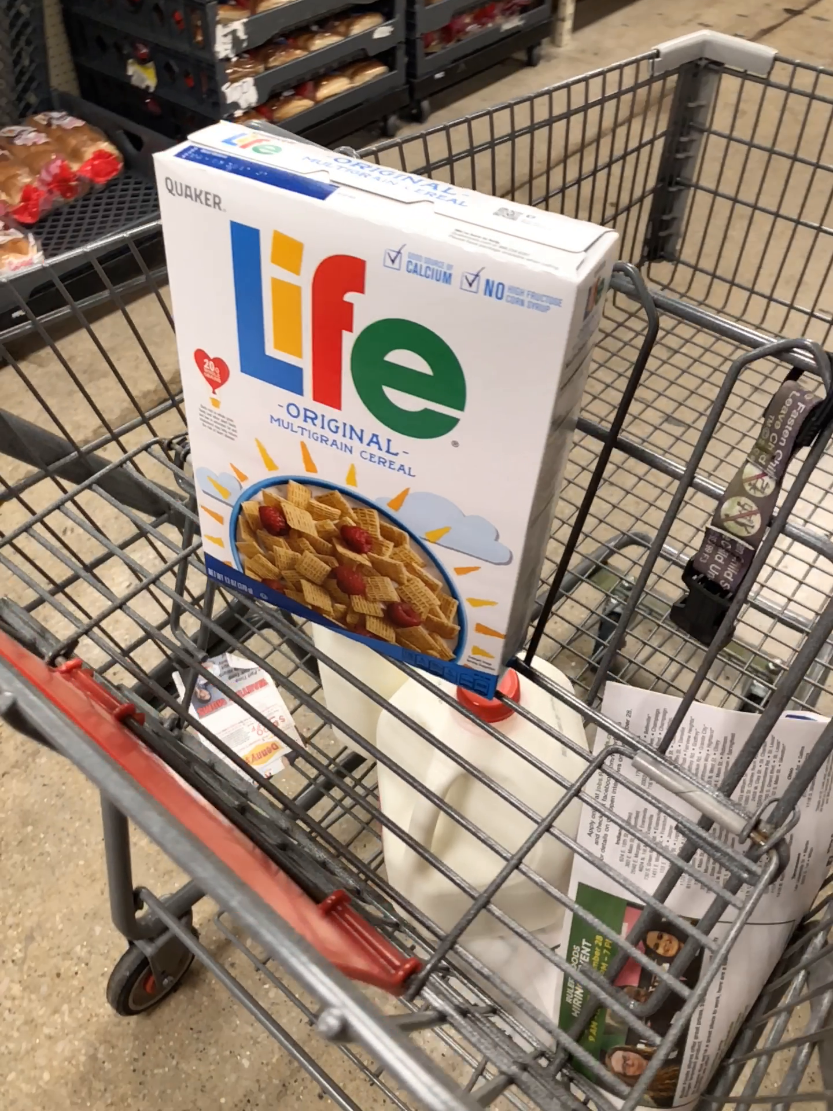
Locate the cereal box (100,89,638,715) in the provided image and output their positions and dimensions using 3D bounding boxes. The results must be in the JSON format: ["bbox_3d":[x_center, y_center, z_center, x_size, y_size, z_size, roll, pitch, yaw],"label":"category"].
[{"bbox_3d":[-0.028,-0.058,0.421,0.200,0.240,0.050,23,47,18],"label":"cereal box"}]
